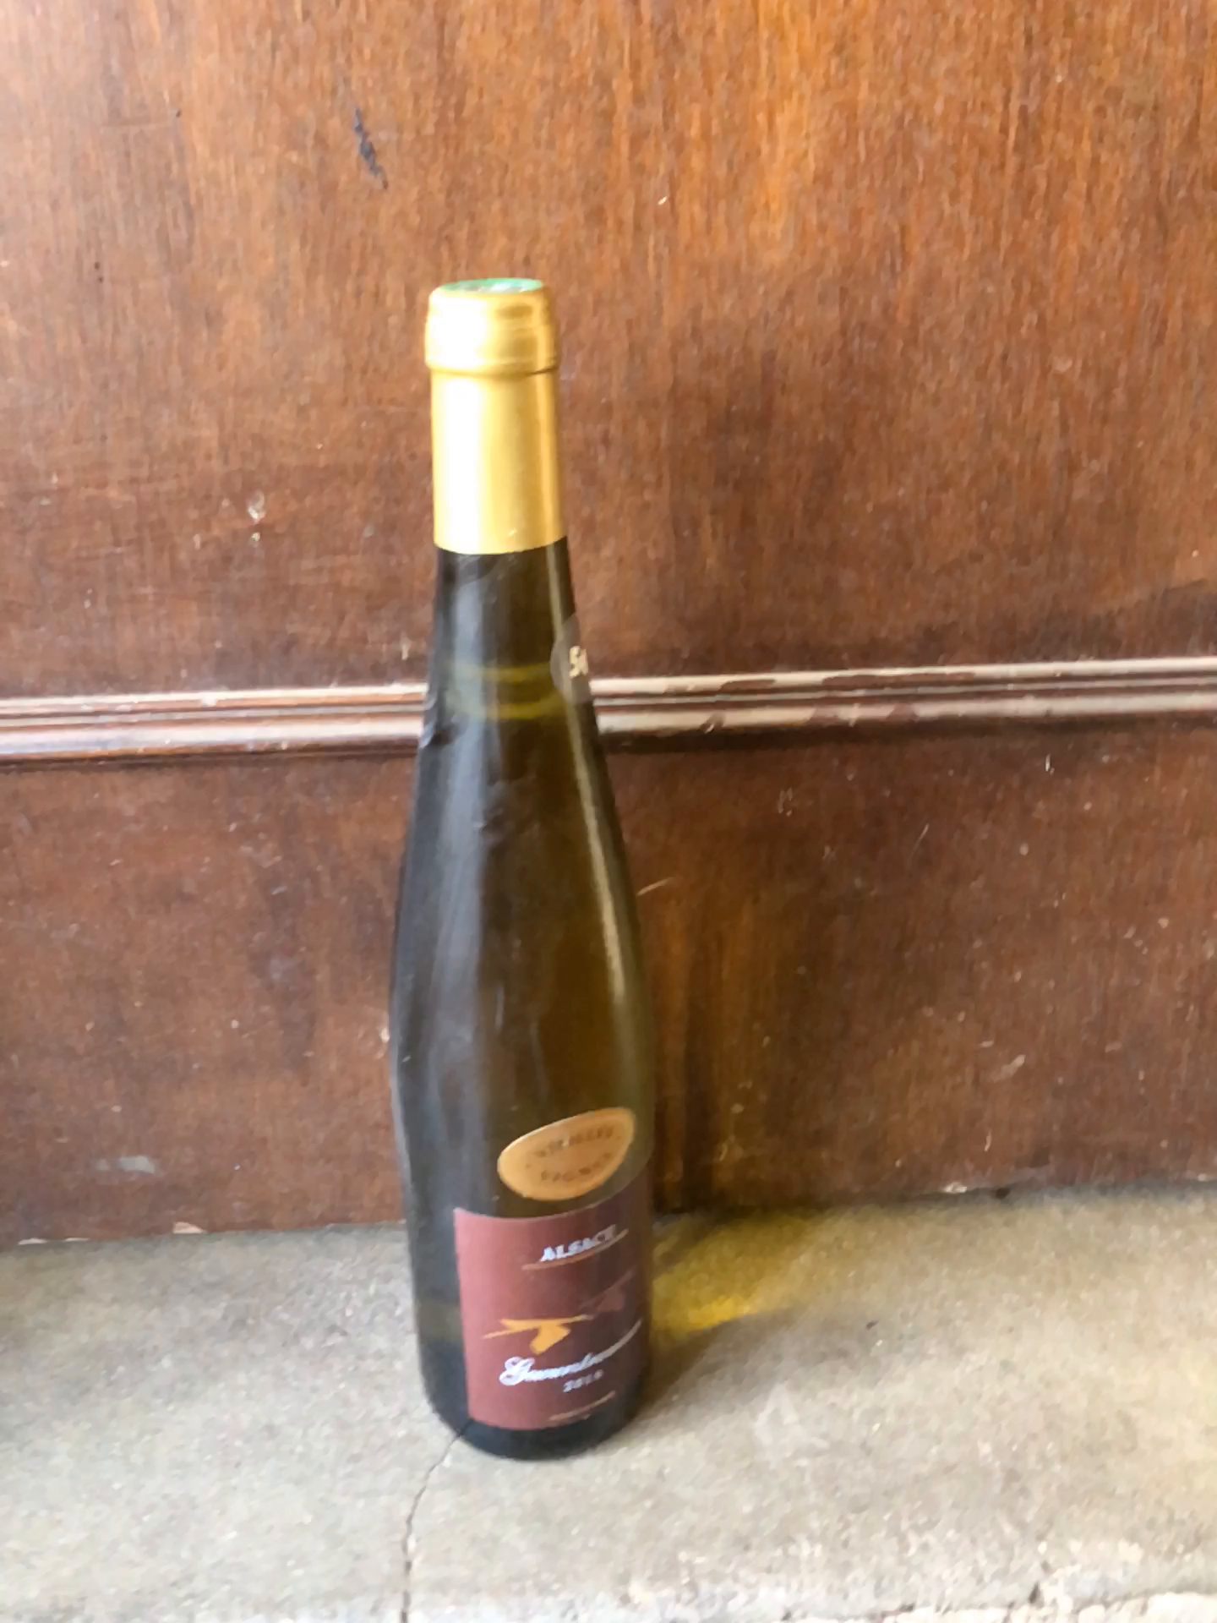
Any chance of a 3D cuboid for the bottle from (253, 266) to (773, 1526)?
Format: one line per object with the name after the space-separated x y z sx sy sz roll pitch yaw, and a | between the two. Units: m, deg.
-0.020 0.030 0.347 0.080 0.308 0.080 -1 26 0 | bottle
